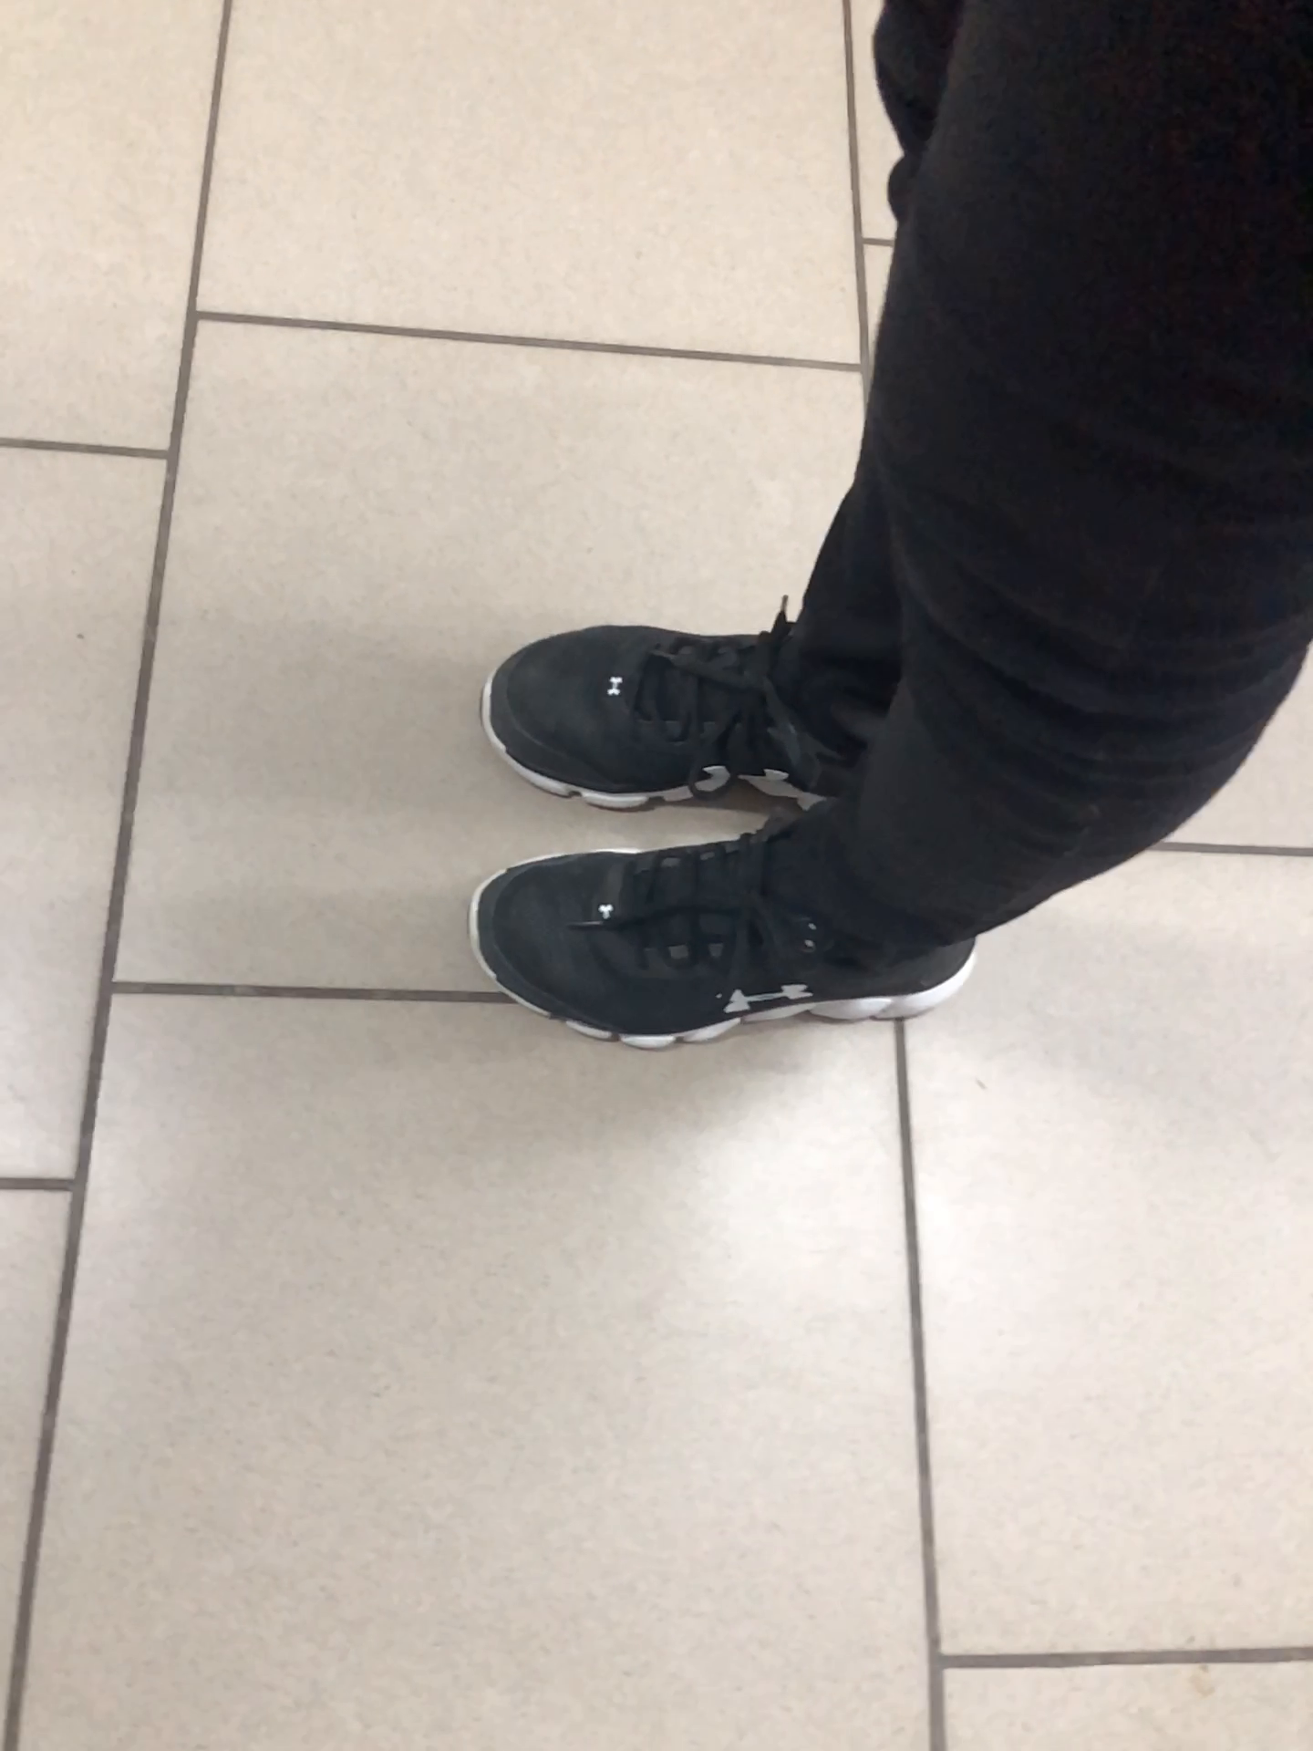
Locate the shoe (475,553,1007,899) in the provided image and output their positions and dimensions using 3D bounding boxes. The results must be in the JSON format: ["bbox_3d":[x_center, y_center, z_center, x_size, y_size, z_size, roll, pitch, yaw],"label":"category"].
[{"bbox_3d":[0.042,-0.076,0.772,0.260,0.090,0.110,11,70,-3],"label":"shoe"}]

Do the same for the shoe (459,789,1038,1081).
[{"bbox_3d":[0.041,0.034,0.723,0.270,0.090,0.110,4,71,-6],"label":"shoe"}]
